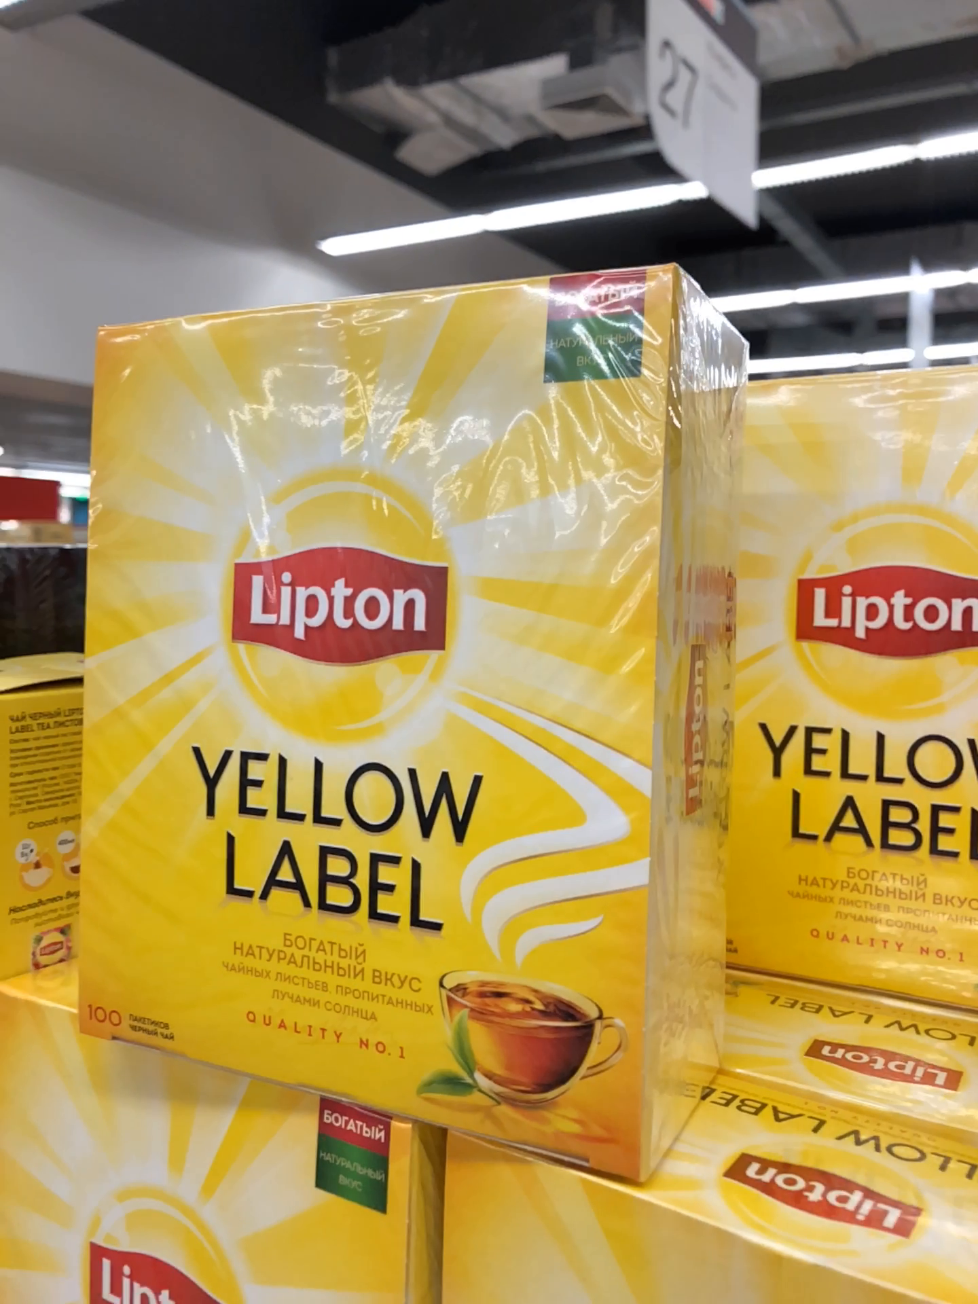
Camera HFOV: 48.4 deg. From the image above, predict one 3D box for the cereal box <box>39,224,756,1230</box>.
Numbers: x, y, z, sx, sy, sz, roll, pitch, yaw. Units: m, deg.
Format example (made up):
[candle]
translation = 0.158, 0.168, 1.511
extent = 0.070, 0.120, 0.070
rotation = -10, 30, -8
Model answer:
[cereal box]
translation = -0.021, 0.009, 0.245
extent = 0.140, 0.170, 0.070
rotation = 3, 1, 26
